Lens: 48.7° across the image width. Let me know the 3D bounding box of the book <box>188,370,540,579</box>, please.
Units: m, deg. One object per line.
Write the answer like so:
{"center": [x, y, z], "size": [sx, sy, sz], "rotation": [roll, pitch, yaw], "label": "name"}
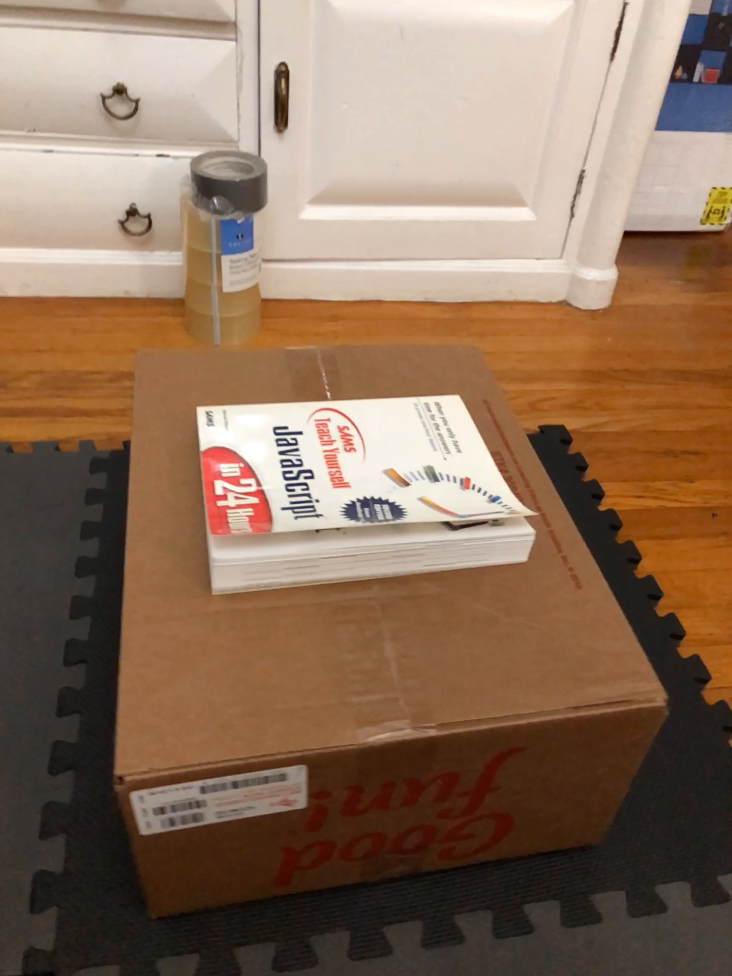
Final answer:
{"center": [-0.013, -0.023, 0.645], "size": [0.240, 0.030, 0.201], "rotation": [-4, 42, -14], "label": "book"}
